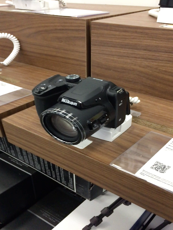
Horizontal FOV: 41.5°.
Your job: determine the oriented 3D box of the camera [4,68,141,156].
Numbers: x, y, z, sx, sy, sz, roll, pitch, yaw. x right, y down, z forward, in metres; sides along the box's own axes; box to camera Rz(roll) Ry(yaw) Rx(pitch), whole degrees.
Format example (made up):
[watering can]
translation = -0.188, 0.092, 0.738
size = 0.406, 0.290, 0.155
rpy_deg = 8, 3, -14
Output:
[camera]
translation = -0.017, -0.012, 0.319
size = 0.128, 0.063, 0.103
rpy_deg = 22, 39, 29
